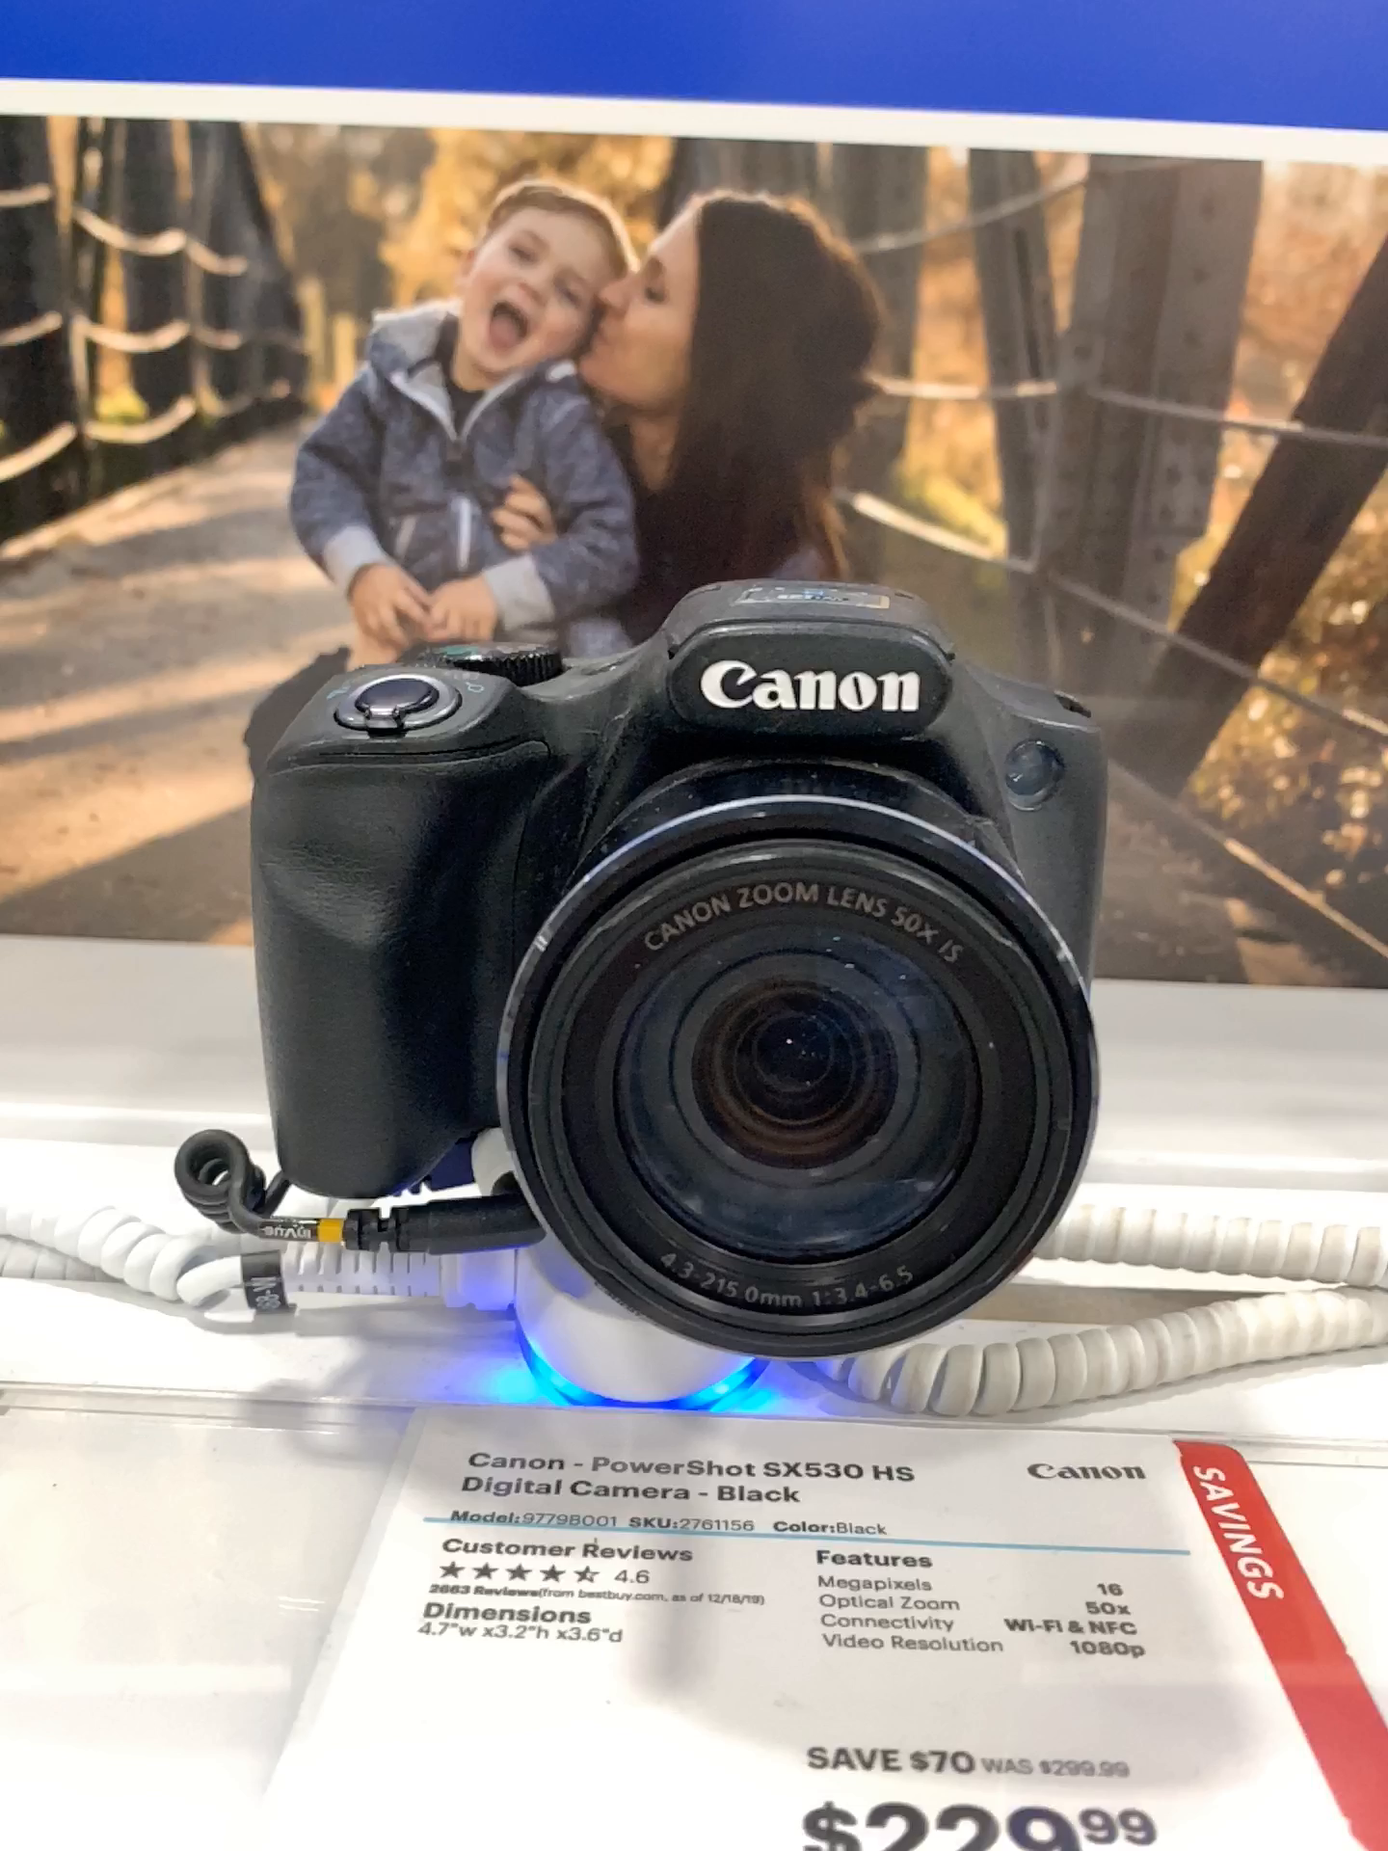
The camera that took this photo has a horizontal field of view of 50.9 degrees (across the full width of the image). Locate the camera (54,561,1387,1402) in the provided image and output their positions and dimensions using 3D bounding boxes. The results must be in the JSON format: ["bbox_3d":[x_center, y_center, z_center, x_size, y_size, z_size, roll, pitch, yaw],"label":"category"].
[{"bbox_3d":[0.001,-0.002,0.188,0.124,0.080,0.090,3,14,-1],"label":"camera"}]
